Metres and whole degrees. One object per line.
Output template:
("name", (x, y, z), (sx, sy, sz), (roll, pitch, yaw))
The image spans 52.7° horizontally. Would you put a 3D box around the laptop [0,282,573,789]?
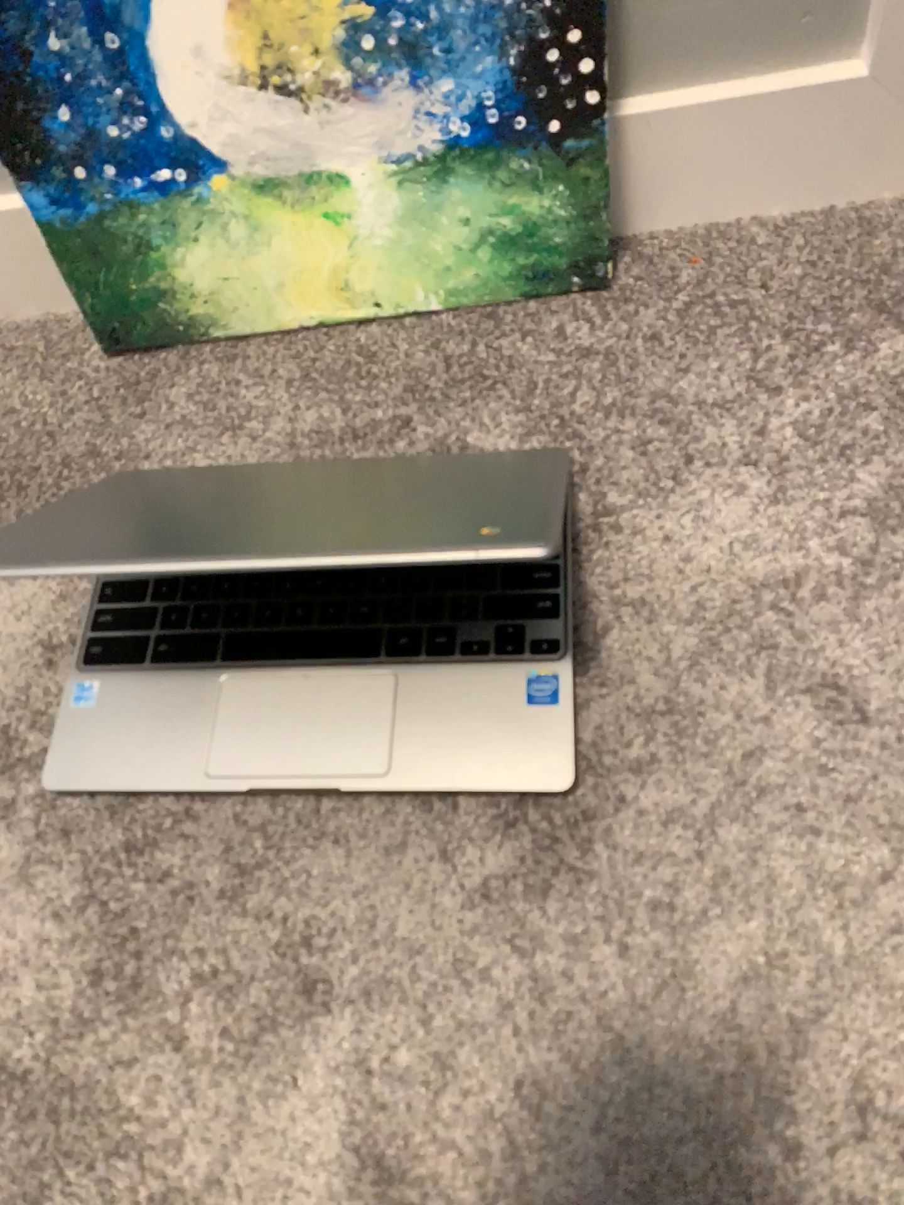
("laptop", (-0.092, -0.023, 0.467), (0.294, 0.144, 0.200), (-2, 63, 9))
